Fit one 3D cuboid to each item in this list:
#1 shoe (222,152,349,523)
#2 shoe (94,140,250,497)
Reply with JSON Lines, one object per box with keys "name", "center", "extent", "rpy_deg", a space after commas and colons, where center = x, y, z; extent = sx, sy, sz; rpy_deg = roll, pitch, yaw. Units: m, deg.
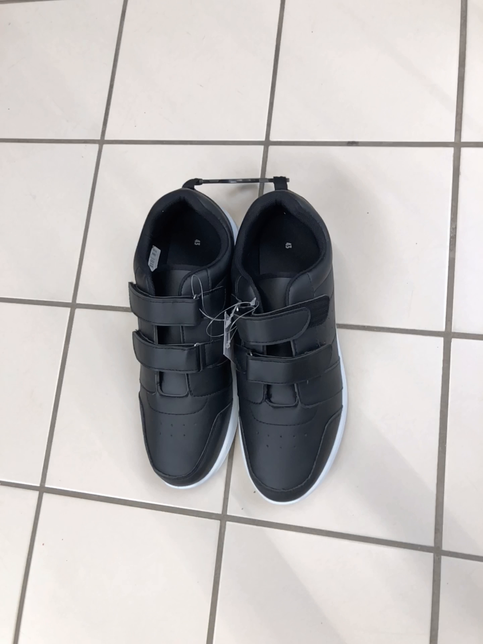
{"name": "shoe", "center": [0.047, 0.013, 0.495], "extent": [0.100, 0.100, 0.310], "rpy_deg": [-1, 79, 11]}
{"name": "shoe", "center": [-0.057, -0.004, 0.510], "extent": [0.100, 0.100, 0.310], "rpy_deg": [1, 79, 12]}
